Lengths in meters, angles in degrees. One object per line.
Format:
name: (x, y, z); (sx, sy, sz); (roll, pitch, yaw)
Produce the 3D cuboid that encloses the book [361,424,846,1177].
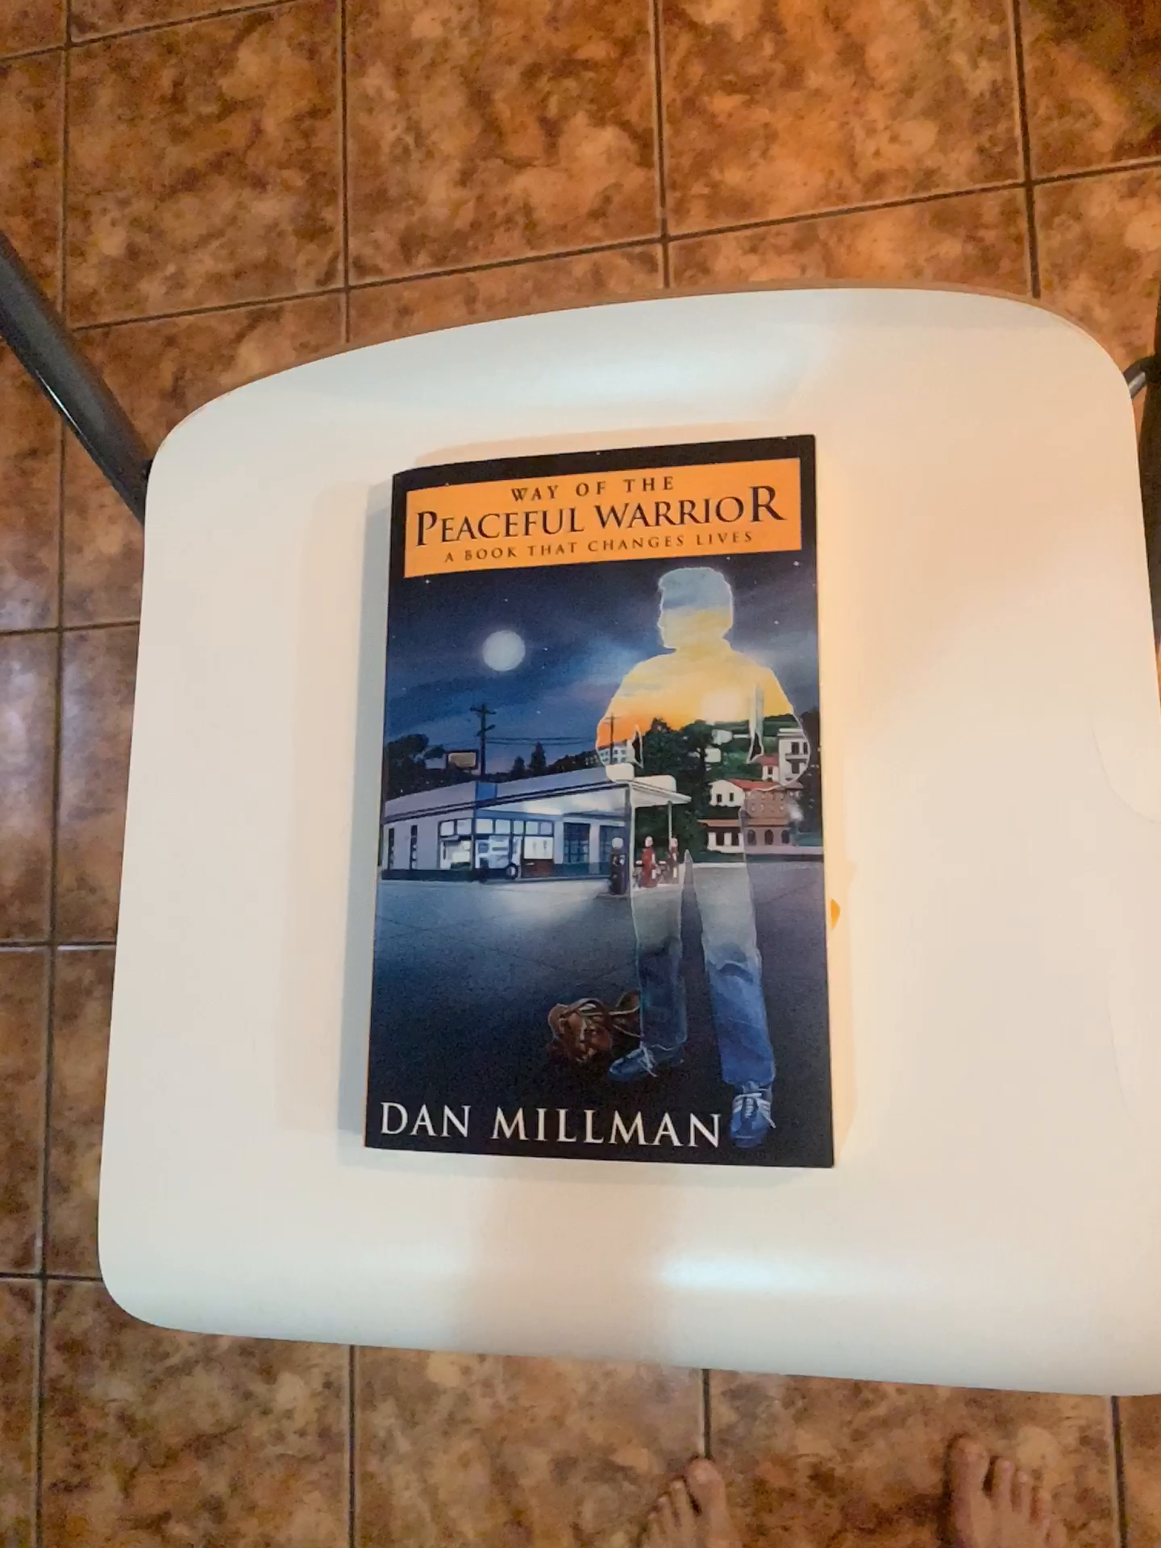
book: (0.007, 0.008, 0.367); (0.141, 0.039, 0.210); (-1, 84, 14)
